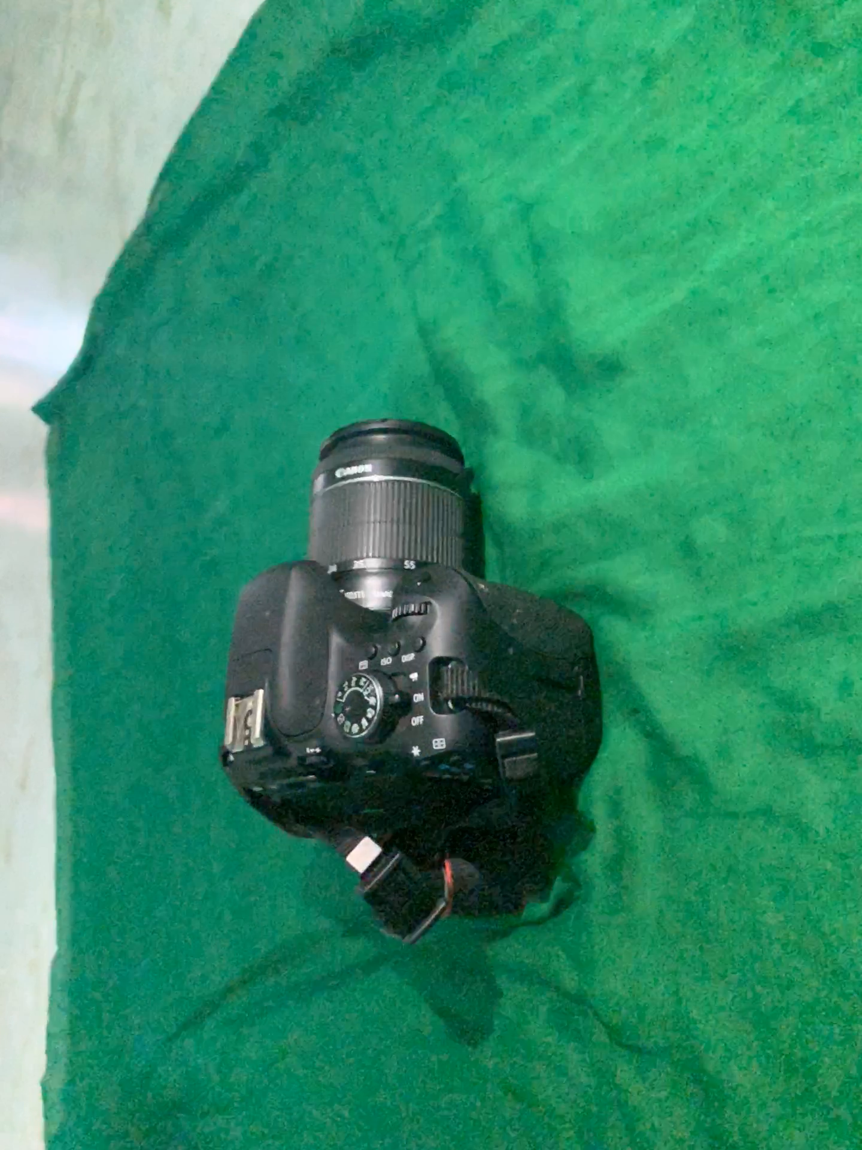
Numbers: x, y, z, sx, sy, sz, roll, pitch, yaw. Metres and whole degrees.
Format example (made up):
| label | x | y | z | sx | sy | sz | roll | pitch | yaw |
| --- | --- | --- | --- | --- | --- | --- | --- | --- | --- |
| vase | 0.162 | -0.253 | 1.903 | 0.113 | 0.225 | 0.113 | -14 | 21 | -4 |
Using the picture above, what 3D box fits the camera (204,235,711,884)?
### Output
| label | x | y | z | sx | sy | sz | roll | pitch | yaw |
| --- | --- | --- | --- | --- | --- | --- | --- | --- | --- |
| camera | -0.006 | 0.009 | 0.349 | 0.153 | 0.099 | 0.190 | -29 | 60 | 45 |
